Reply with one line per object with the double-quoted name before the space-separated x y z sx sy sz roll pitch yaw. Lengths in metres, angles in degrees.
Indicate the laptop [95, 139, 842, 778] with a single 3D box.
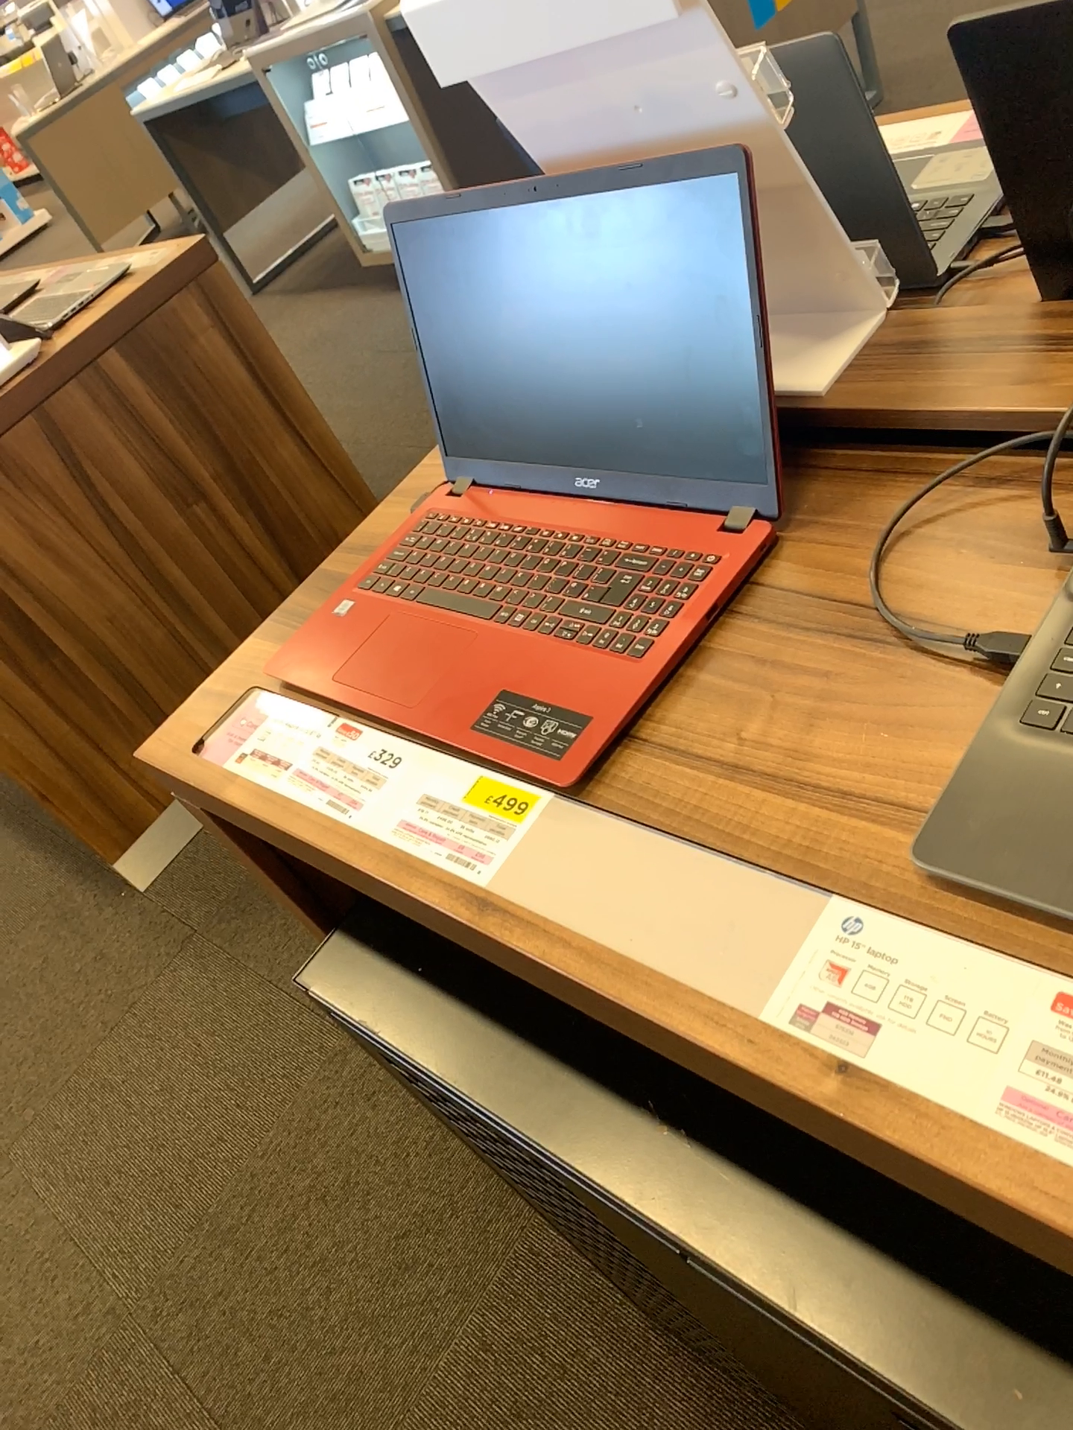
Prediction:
"laptop" -0.048 -0.188 0.771 0.358 0.213 0.322 18 60 44
